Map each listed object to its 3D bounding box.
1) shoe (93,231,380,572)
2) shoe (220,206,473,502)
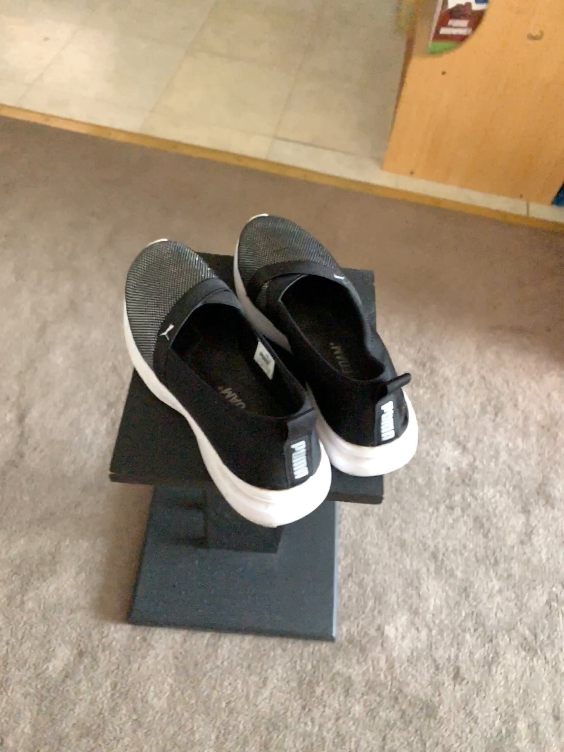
[{"bbox_3d":[-0.046,-0.001,0.436,0.090,0.079,0.261,-24,49,-20],"label":"shoe"},{"bbox_3d":[0.034,-0.033,0.469,0.090,0.079,0.241,-17,49,-16],"label":"shoe"}]
